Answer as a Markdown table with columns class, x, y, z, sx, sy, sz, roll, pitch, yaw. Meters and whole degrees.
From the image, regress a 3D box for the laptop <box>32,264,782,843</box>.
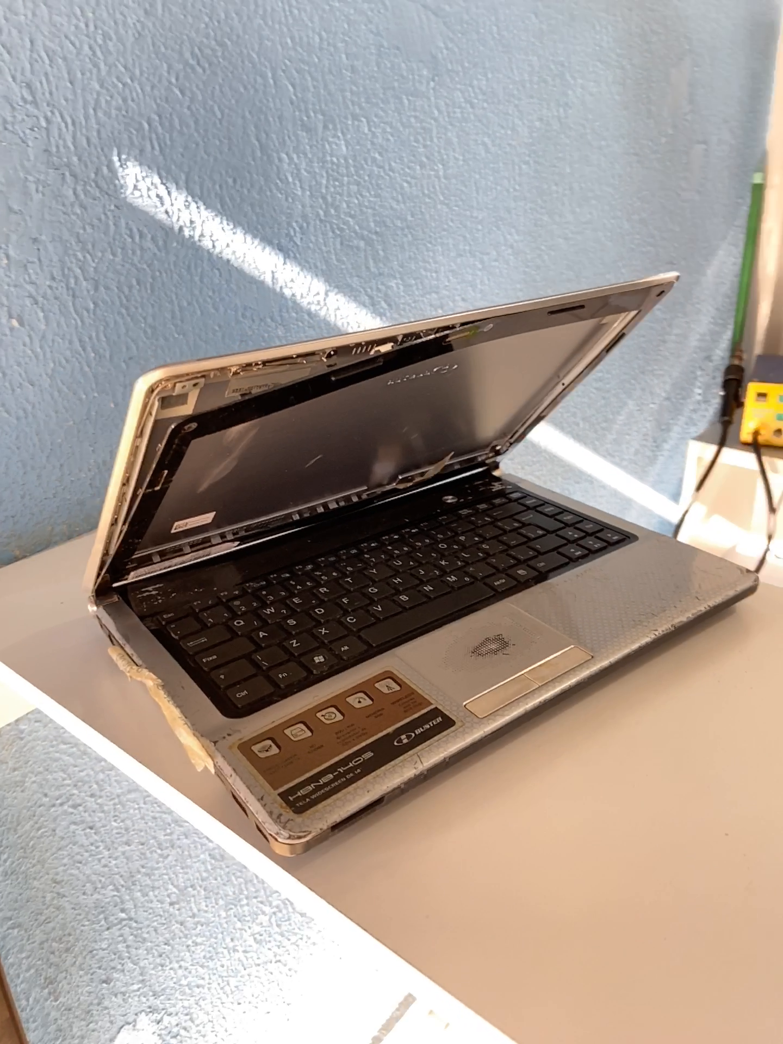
| class | x | y | z | sx | sy | sz | roll | pitch | yaw |
| --- | --- | --- | --- | --- | --- | --- | --- | --- | --- |
| laptop | 0.018 | -0.034 | 0.449 | 0.326 | 0.160 | 0.233 | -18 | 29 | -32 |
